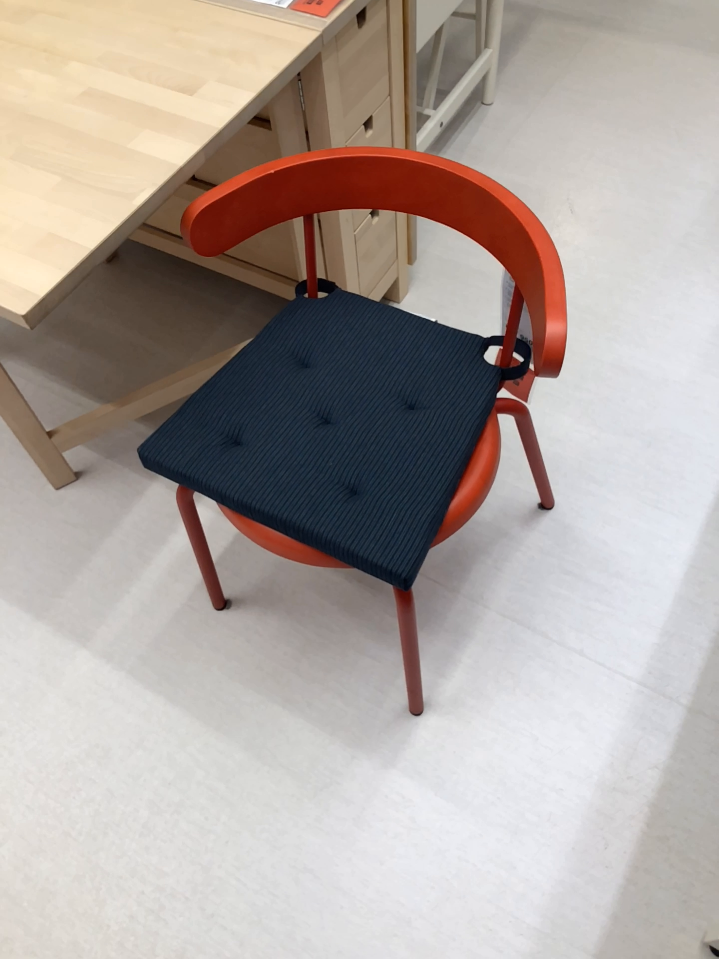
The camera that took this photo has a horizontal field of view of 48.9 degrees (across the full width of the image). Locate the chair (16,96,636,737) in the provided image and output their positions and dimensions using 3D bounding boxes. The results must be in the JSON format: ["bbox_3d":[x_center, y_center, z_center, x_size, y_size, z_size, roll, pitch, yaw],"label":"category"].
[{"bbox_3d":[-0.004,-0.058,1.177,0.521,0.677,0.502,24,62,18],"label":"chair"}]
